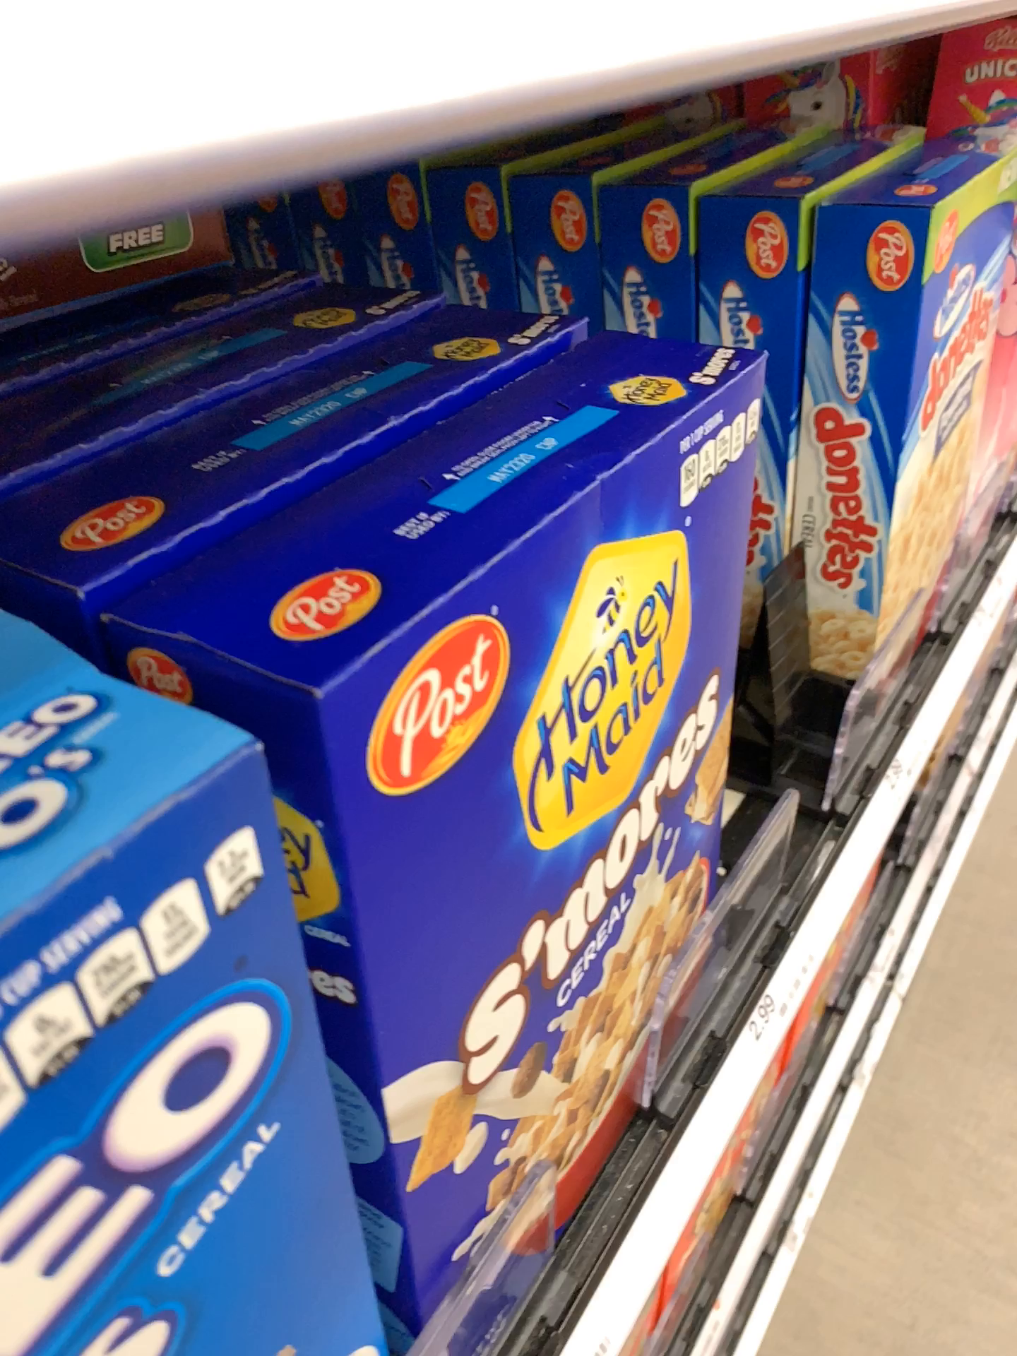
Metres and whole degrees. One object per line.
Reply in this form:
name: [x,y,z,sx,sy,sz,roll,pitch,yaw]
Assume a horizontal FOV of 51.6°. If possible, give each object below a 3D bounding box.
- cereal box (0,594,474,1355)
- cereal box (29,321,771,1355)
cereal box: [-0.093,0.151,0.178,0.070,0.269,0.181,17,39,27]
cereal box: [-0.001,0.059,0.311,0.060,0.269,0.191,19,40,29]
